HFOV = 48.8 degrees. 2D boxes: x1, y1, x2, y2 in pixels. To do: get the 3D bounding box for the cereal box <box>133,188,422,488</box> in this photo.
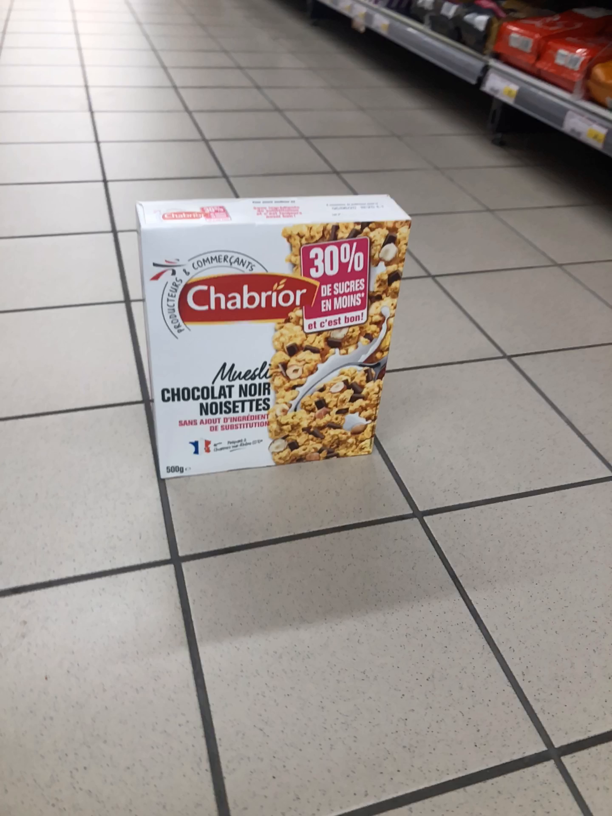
[{"bbox_3d":[-0.027,-0.051,0.550,0.200,0.238,0.050,-6,38,-14],"label":"cereal box"}]
